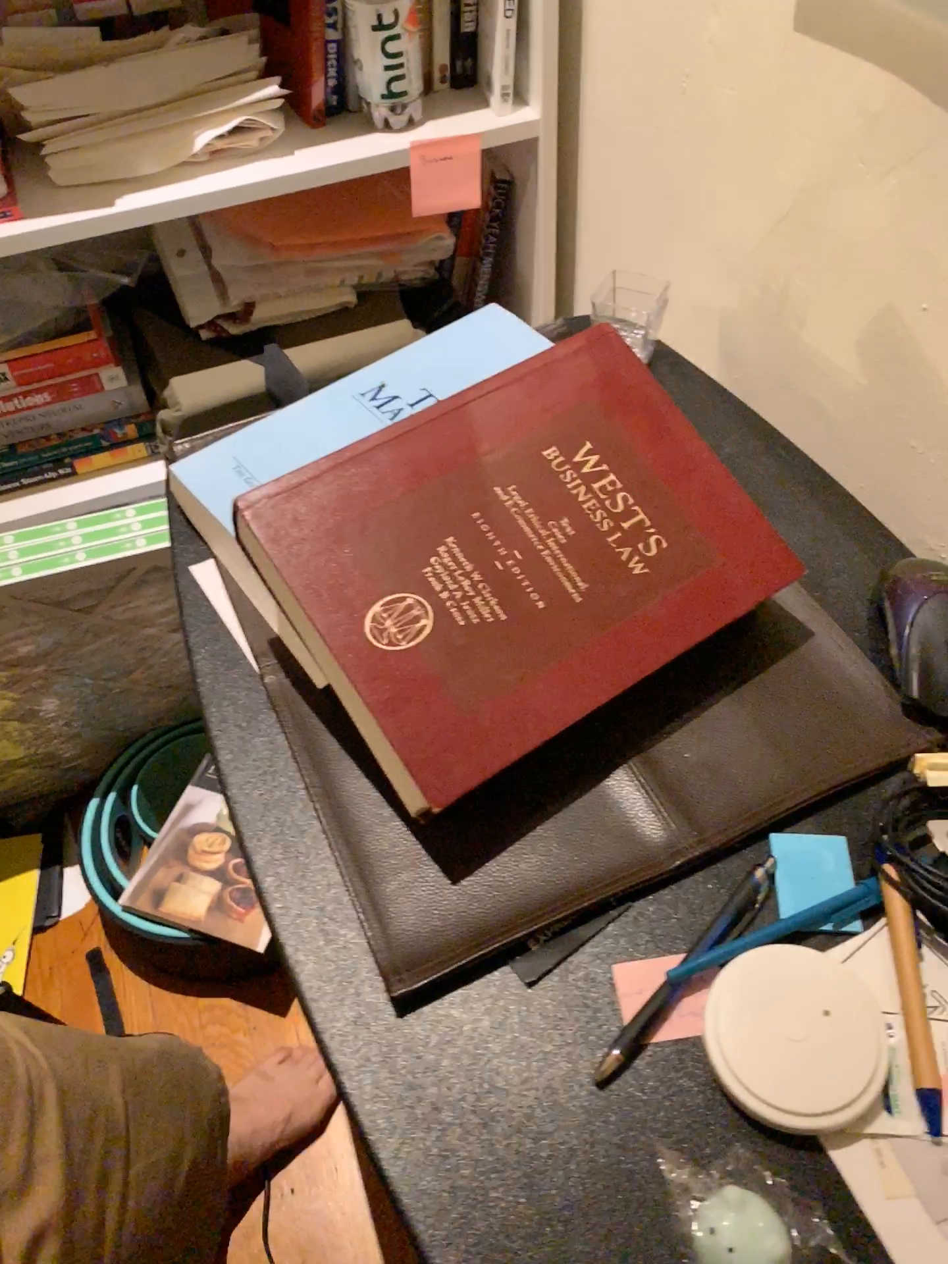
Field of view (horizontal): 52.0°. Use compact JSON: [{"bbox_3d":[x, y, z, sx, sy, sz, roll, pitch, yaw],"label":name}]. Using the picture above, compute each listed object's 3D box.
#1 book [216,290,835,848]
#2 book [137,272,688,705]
[{"bbox_3d":[0.031,-0.047,0.545,0.270,0.050,0.210,-31,79,-20],"label":"book"},{"bbox_3d":[-0.041,-0.112,0.637,0.270,0.070,0.221,-30,55,-20],"label":"book"}]
